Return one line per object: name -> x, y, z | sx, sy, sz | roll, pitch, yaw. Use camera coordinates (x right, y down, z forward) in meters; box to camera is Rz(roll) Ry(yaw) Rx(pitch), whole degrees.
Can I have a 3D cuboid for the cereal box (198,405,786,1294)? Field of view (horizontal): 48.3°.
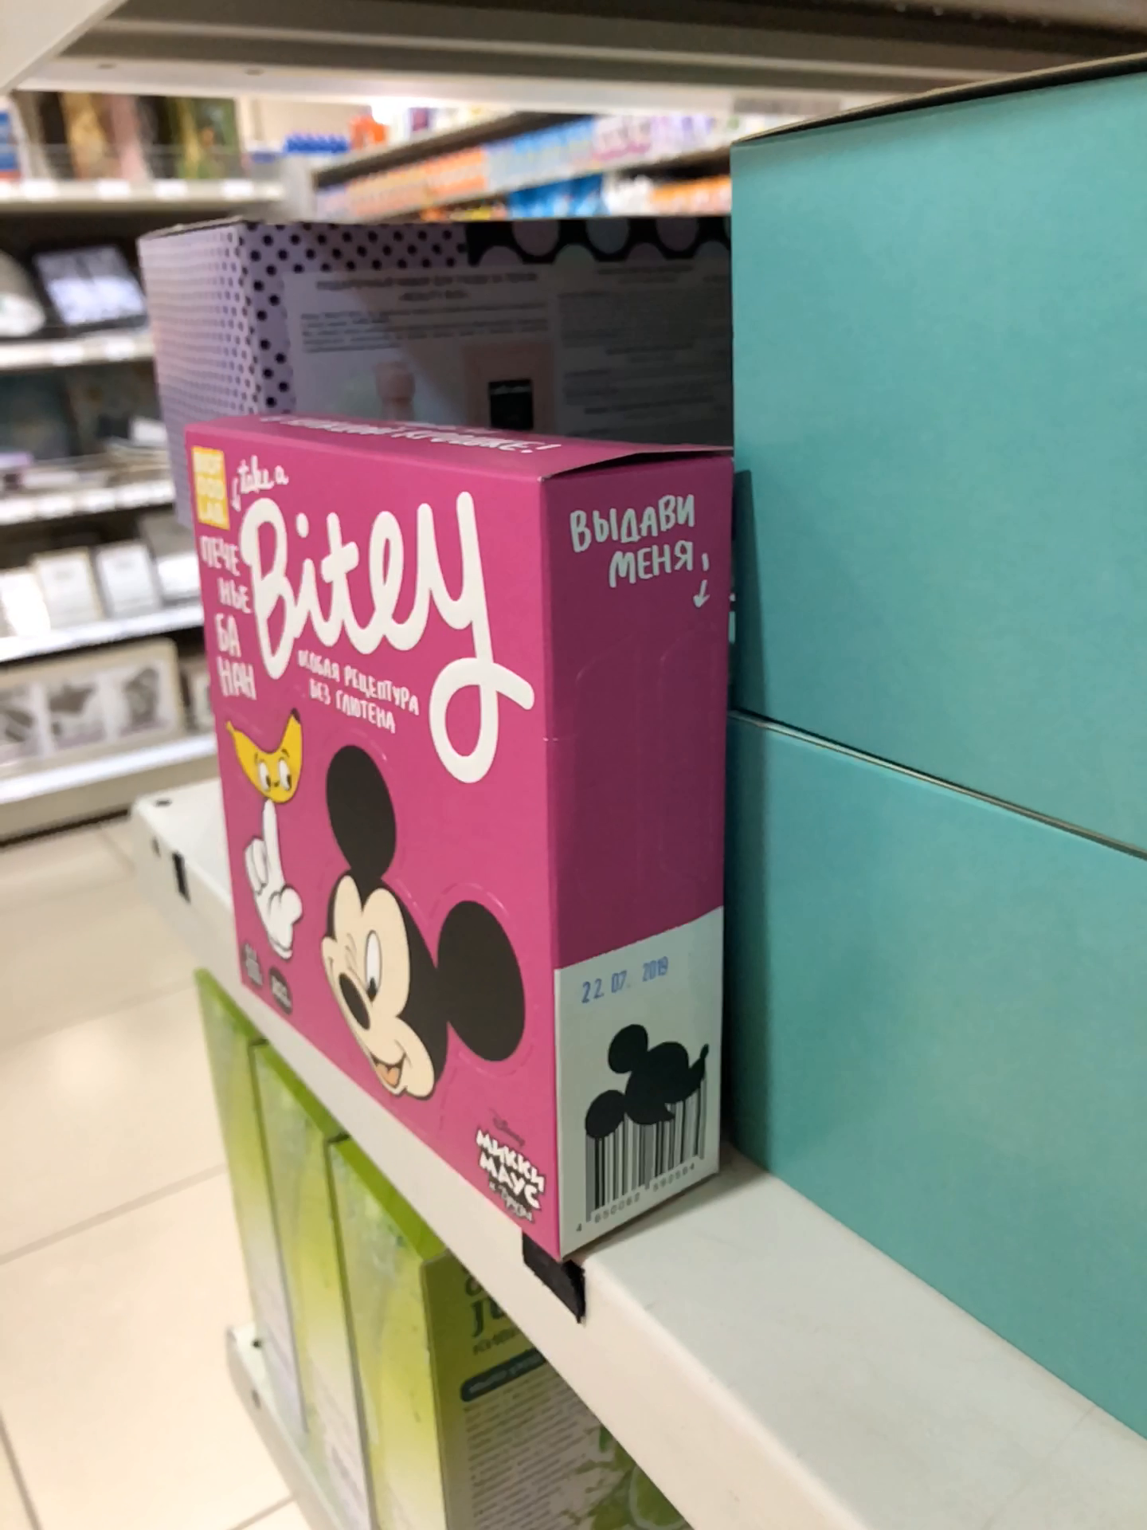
cereal box -> -0.023, 0.005, 0.274 | 0.040, 0.149, 0.140 | -16, 24, -37
